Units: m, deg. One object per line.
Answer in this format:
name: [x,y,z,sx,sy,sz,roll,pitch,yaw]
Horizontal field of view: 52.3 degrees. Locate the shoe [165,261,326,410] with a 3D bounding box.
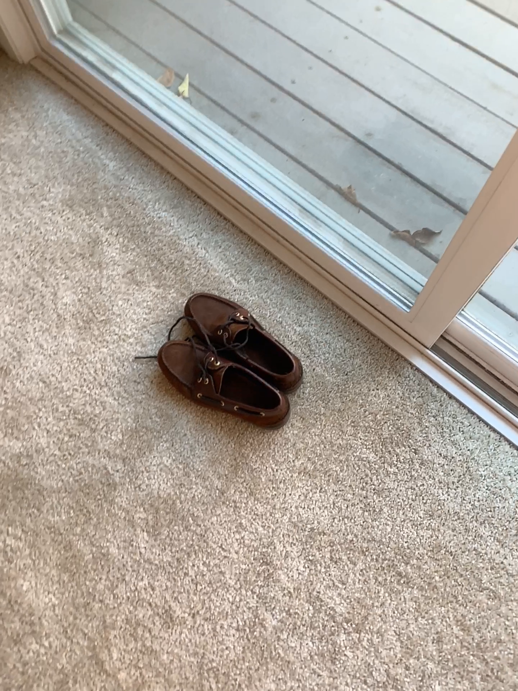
shoe: [-0.026,-0.020,1.029,0.300,0.100,0.110,37,75,14]

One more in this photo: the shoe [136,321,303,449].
shoe: [-0.072,0.076,1.002,0.290,0.100,0.100,26,73,11]
